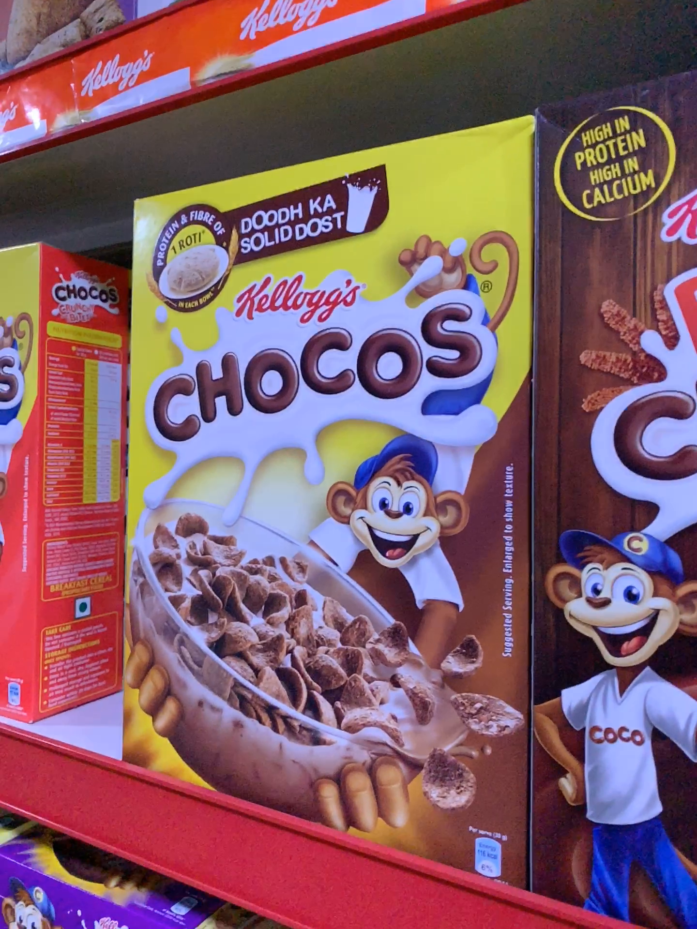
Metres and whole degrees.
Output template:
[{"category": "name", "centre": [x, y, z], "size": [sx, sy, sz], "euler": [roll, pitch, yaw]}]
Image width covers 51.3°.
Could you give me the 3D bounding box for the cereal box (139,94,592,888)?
[{"category": "cereal box", "centre": [0.001, 0.006, 0.289], "size": [0.170, 0.240, 0.060], "euler": [1, 0, 31]}]
